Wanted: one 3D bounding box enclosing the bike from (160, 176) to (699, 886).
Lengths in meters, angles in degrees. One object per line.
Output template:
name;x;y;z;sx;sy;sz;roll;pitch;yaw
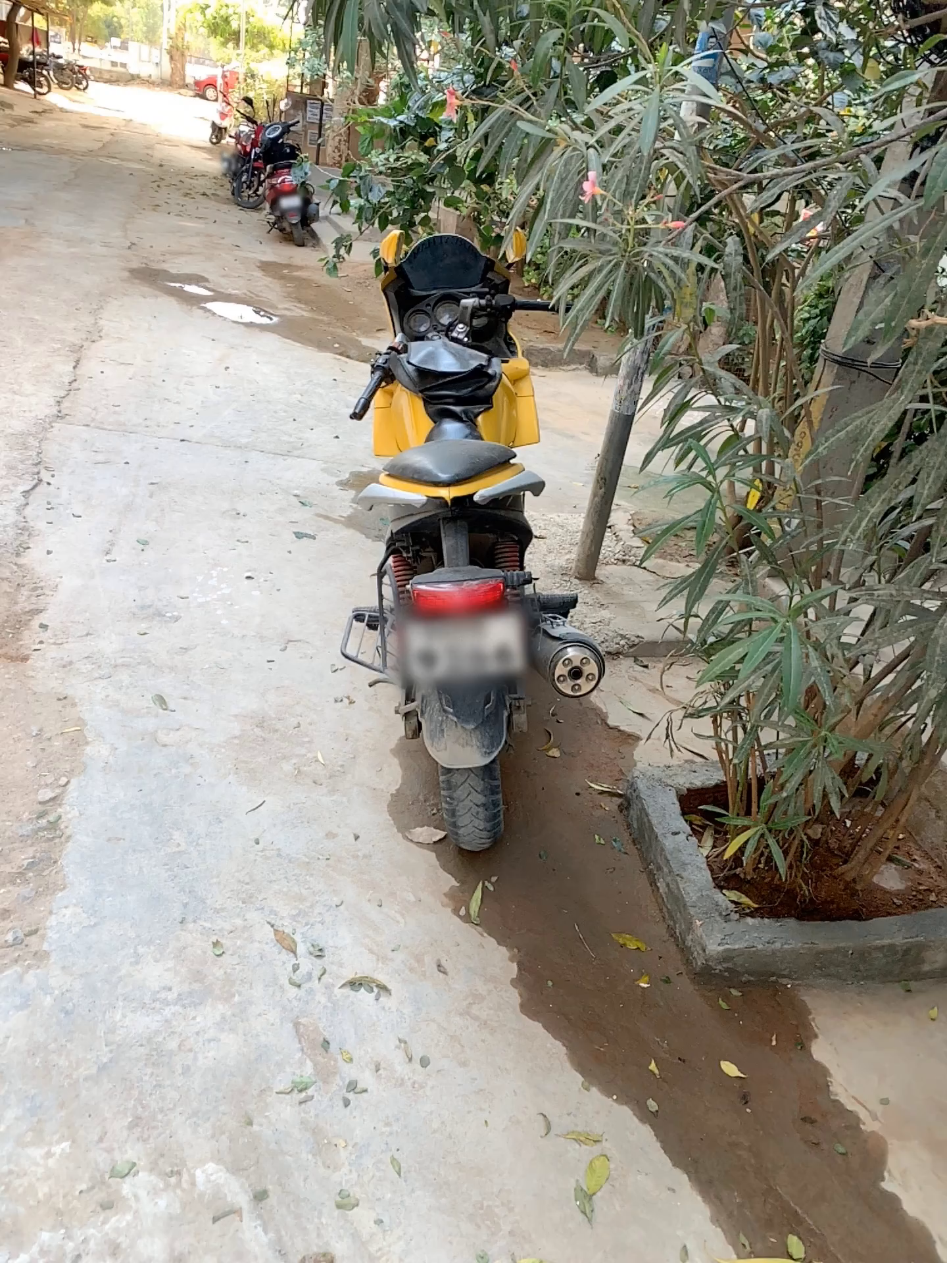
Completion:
bike;-0.265;-0.421;2.485;0.852;0.954;1.755;4;32;-12
